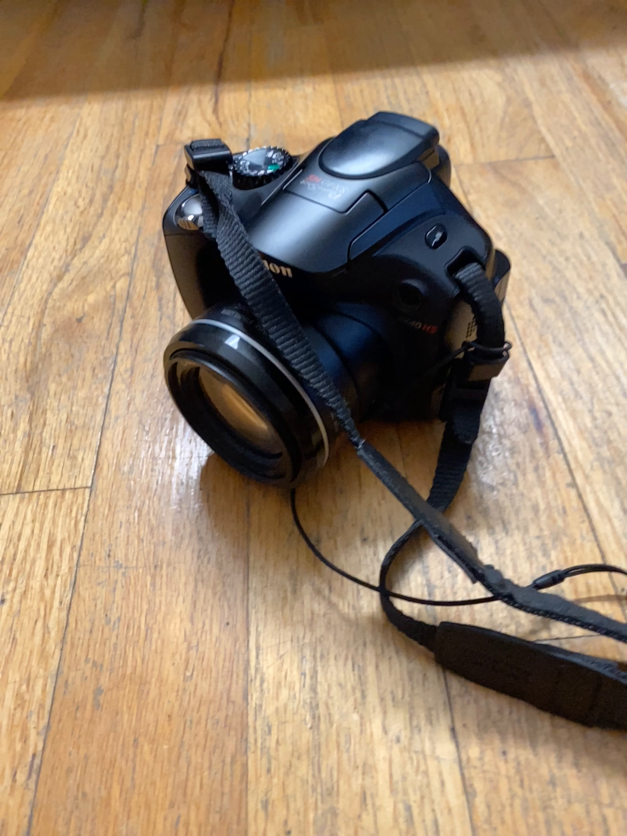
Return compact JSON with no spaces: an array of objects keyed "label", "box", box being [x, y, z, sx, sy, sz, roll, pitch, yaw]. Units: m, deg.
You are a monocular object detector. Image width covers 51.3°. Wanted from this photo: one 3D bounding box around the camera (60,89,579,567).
[{"label":"camera","box":[0.004,-0.042,0.246,0.120,0.090,0.120,32,58,27]}]
